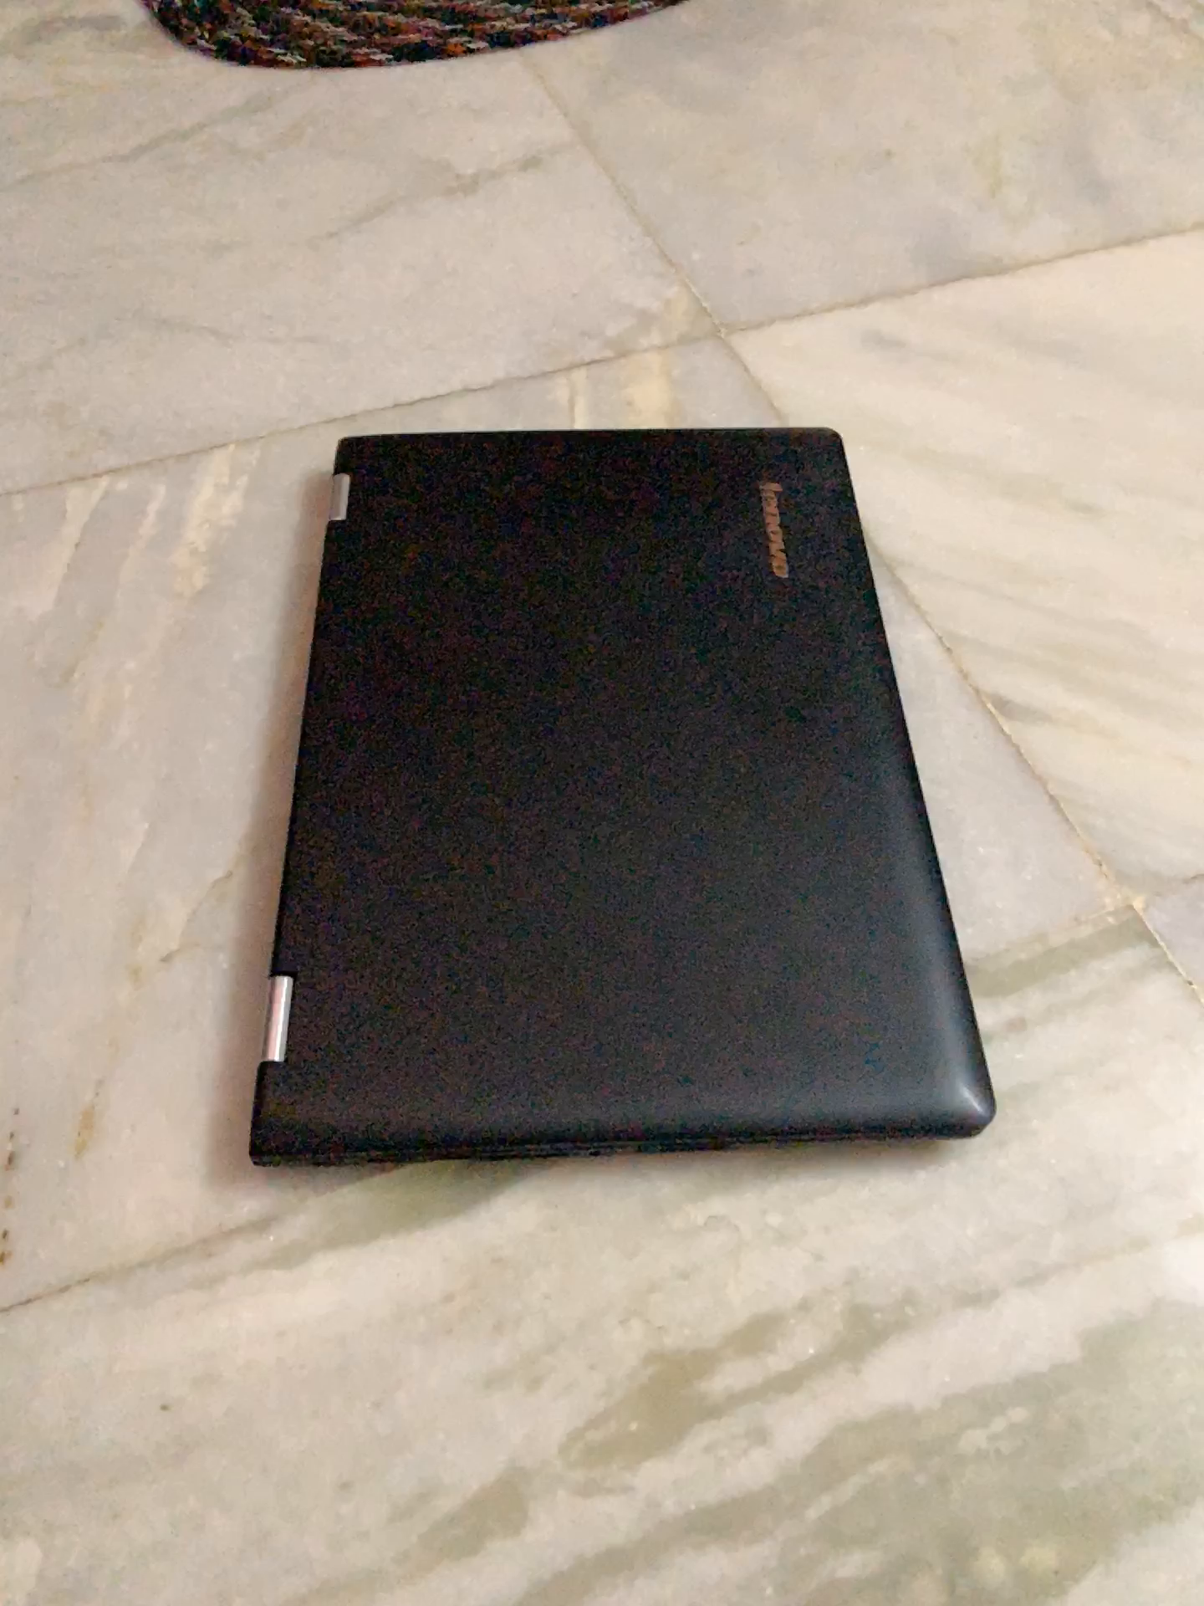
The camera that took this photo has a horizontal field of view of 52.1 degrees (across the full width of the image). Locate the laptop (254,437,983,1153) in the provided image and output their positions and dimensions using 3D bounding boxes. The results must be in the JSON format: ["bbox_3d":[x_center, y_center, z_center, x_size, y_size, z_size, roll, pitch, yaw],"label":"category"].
[{"bbox_3d":[0.000,-0.031,0.470,0.223,0.001,0.326,-1,55,-2],"label":"laptop"}]
